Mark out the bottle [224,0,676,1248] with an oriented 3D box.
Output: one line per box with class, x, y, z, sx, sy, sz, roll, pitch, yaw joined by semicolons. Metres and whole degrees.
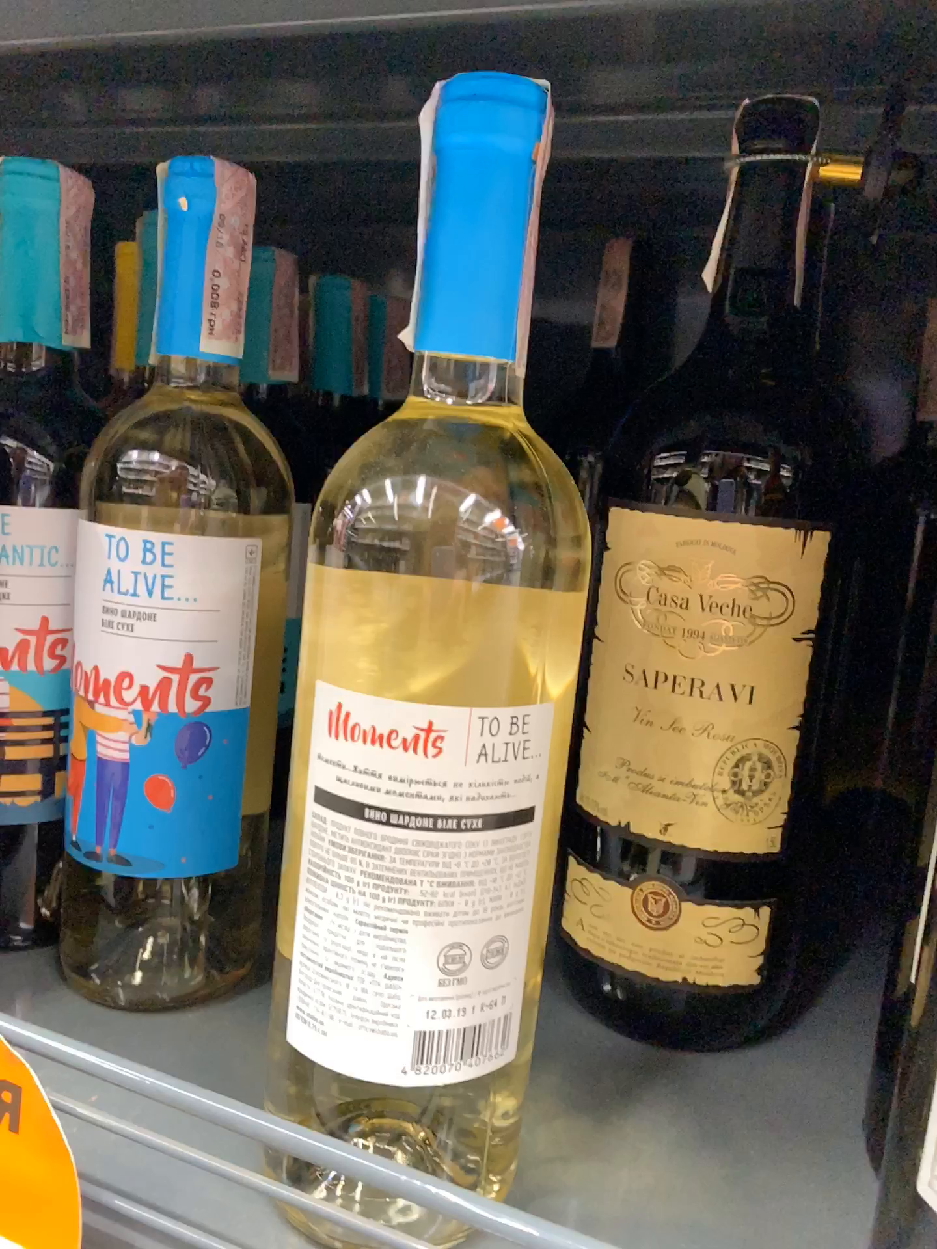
bottle;-0.008;0.008;0.267;0.080;0.314;0.081;5;10;-1
